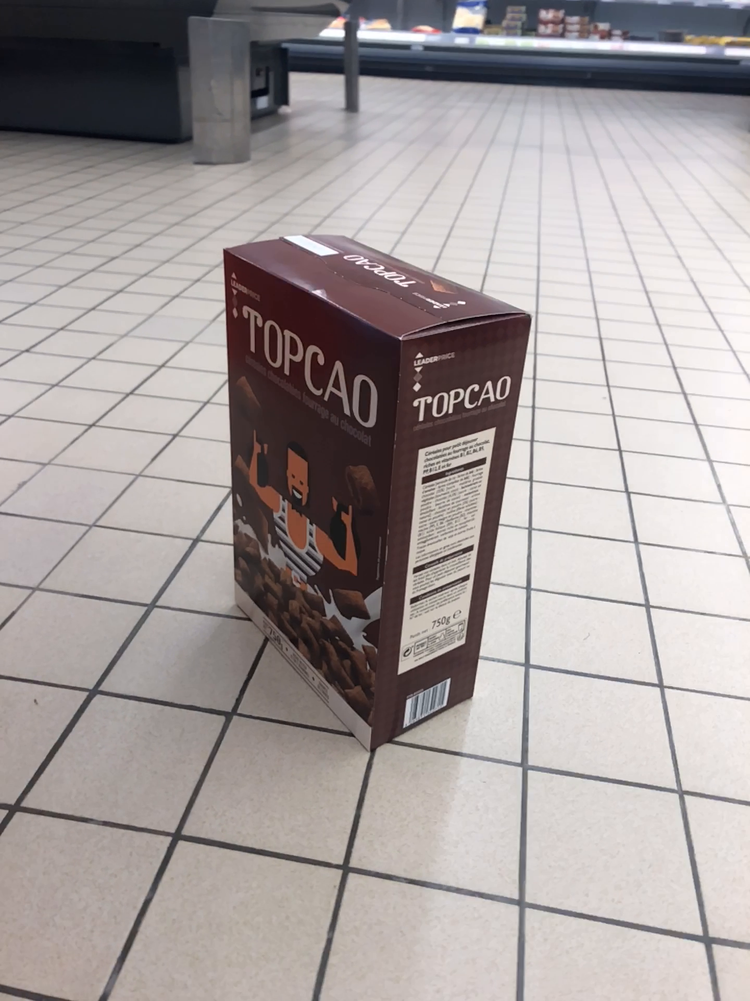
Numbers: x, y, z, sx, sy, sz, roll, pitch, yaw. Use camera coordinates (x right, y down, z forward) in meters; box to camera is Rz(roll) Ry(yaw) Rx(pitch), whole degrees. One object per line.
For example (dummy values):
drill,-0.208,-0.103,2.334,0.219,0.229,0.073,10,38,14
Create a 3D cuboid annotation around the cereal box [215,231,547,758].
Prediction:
cereal box,-0.012,-0.011,0.570,0.100,0.288,0.200,-18,37,-32
